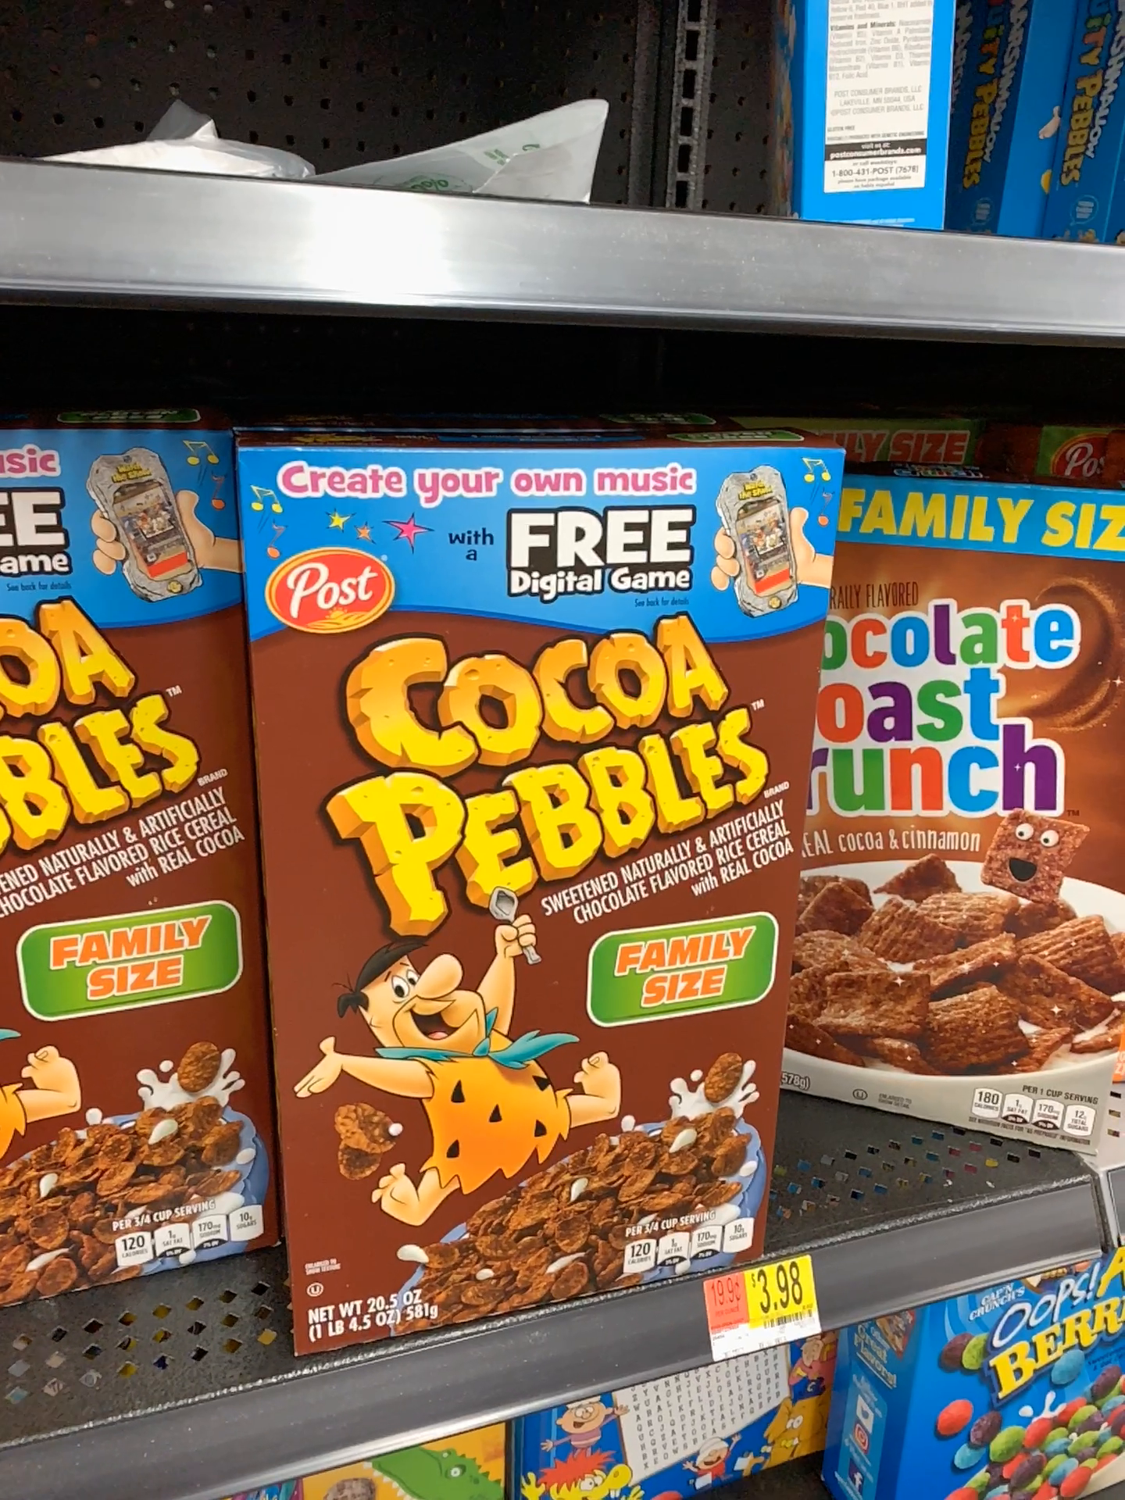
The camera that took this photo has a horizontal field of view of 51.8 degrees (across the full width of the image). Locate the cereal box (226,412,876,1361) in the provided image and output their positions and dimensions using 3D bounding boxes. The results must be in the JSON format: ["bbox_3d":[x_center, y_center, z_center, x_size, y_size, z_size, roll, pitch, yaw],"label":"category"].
[{"bbox_3d":[-0.009,0.051,0.425,0.200,0.329,0.060,-4,20,-17],"label":"cereal box"}]
